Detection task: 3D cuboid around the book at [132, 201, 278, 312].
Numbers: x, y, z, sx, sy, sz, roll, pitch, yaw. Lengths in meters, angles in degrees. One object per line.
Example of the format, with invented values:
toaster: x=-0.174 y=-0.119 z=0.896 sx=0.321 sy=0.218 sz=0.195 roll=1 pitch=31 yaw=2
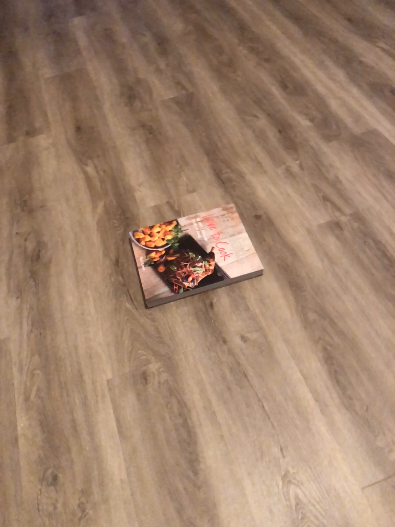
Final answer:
book: x=0.010 y=-0.025 z=1.017 sx=0.290 sy=0.030 sz=0.222 roll=-15 pitch=52 yaw=-5
